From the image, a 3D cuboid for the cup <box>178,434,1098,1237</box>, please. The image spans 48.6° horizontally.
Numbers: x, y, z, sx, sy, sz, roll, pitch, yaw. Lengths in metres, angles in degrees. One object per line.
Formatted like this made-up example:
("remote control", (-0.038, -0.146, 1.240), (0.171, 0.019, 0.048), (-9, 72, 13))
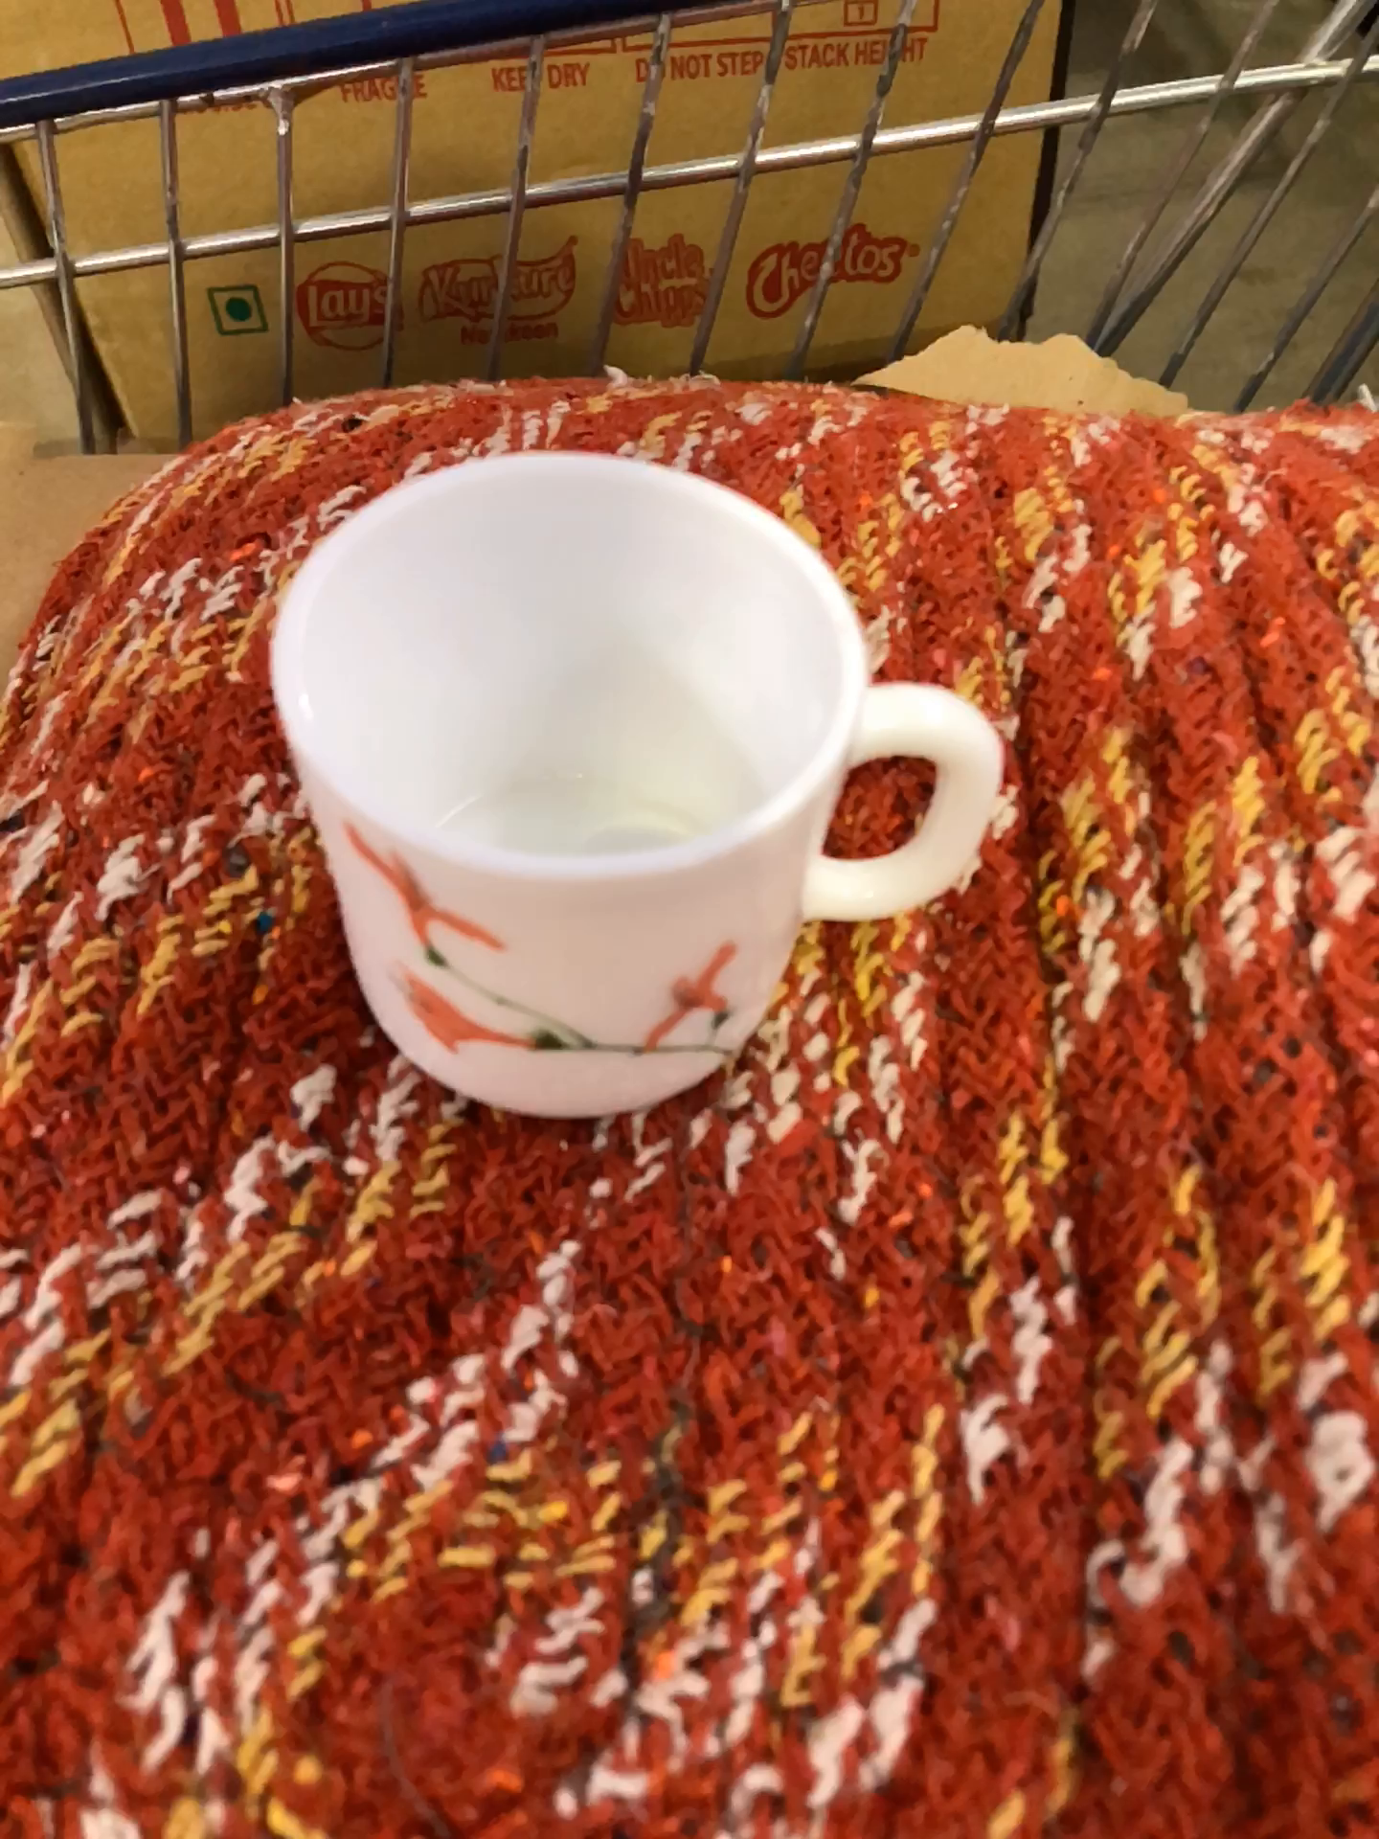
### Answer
("cup", (-0.007, -0.010, 0.178), (0.080, 0.060, 0.070), (-1, 51, -4))
